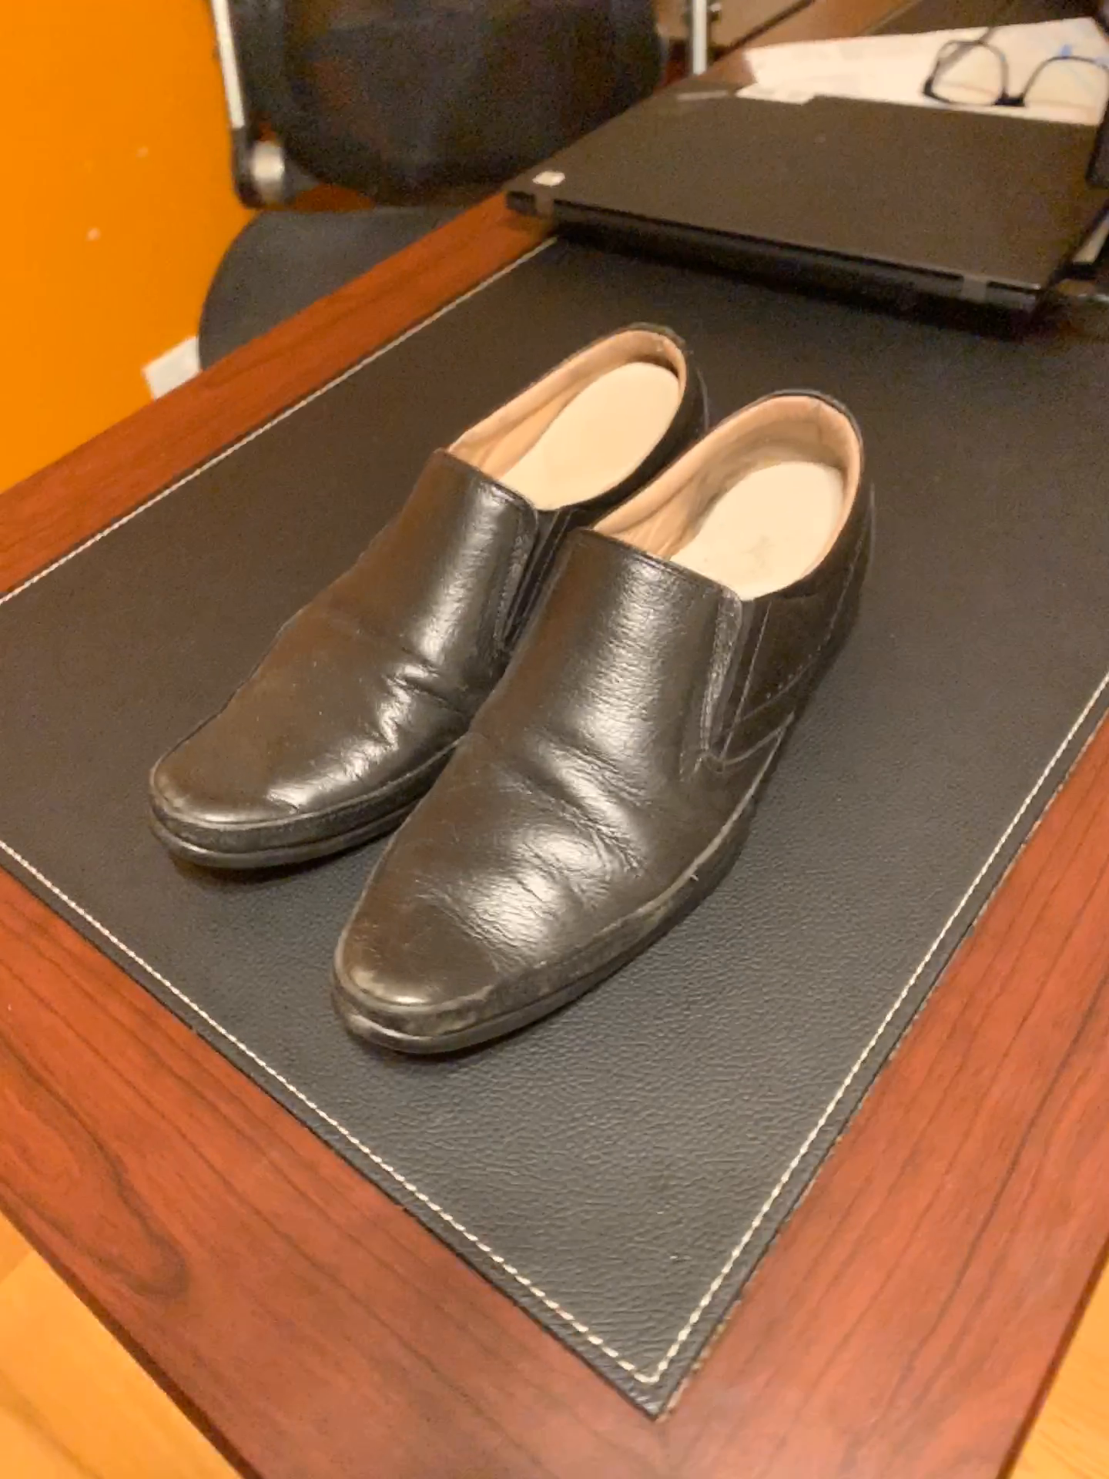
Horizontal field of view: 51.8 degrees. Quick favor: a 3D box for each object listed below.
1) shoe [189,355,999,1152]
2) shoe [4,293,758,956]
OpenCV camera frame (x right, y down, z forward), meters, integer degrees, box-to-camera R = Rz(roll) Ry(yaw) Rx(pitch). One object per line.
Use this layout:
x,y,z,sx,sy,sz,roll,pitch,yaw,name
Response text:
0.032,-0.018,0.391,0.106,0.077,0.286,28,56,28,shoe
-0.046,-0.065,0.447,0.110,0.077,0.286,28,56,28,shoe
